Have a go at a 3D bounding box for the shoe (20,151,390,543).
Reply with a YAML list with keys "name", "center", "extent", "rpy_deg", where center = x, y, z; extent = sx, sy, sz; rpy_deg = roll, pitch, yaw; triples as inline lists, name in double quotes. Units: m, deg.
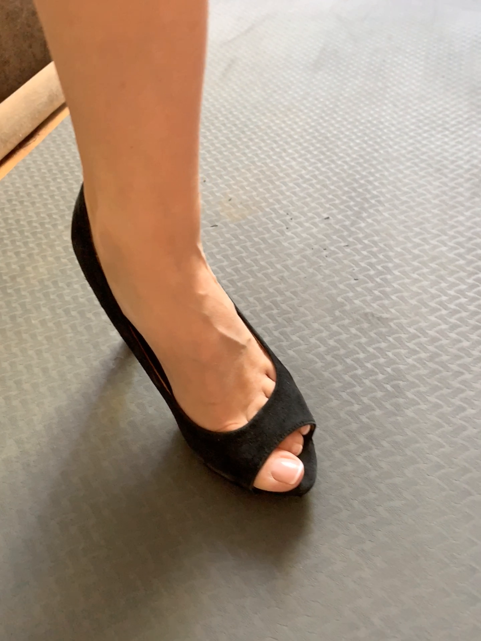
- name: "shoe"
  center: [-0.028, 0.009, 0.321]
  extent: [0.090, 0.139, 0.211]
  rpy_deg: [-36, 55, -22]
